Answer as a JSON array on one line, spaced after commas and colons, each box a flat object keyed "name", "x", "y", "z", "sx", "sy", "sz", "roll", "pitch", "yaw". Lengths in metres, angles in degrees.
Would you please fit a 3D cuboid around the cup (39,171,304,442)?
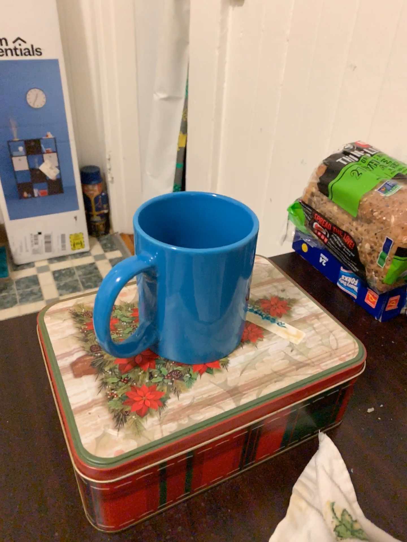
[{"name": "cup", "x": -0.015, "y": 0.011, "z": 0.275, "sx": 0.090, "sy": 0.099, "sz": 0.130, "roll": 28, "pitch": 42, "yaw": 31}]
